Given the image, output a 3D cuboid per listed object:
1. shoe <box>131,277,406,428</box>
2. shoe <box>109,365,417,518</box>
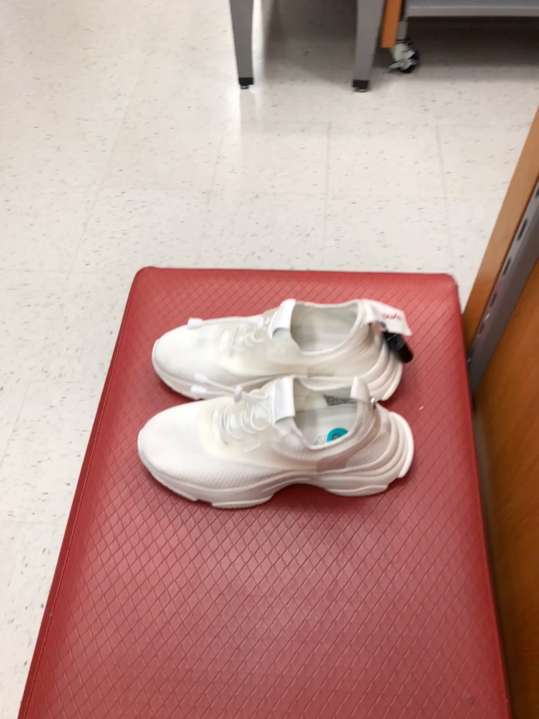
[{"bbox_3d":[0.003,-0.008,0.670,0.277,0.110,0.112,3,56,5],"label":"shoe"},{"bbox_3d":[-0.003,0.085,0.607,0.277,0.110,0.109,1,56,4],"label":"shoe"}]
